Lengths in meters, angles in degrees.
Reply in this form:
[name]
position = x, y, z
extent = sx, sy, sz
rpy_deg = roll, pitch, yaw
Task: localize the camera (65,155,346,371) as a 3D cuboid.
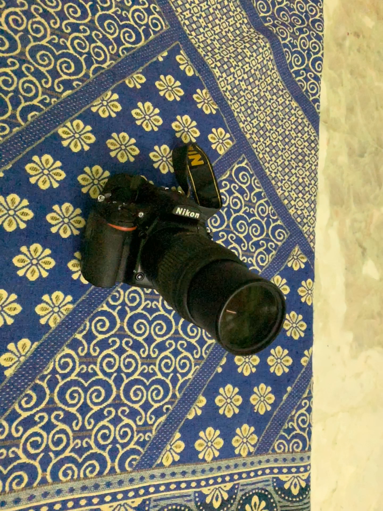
[camera]
position = -0.004, 0.004, 0.356
extent = 0.160, 0.191, 0.130
rpy_deg = 10, 93, -29
